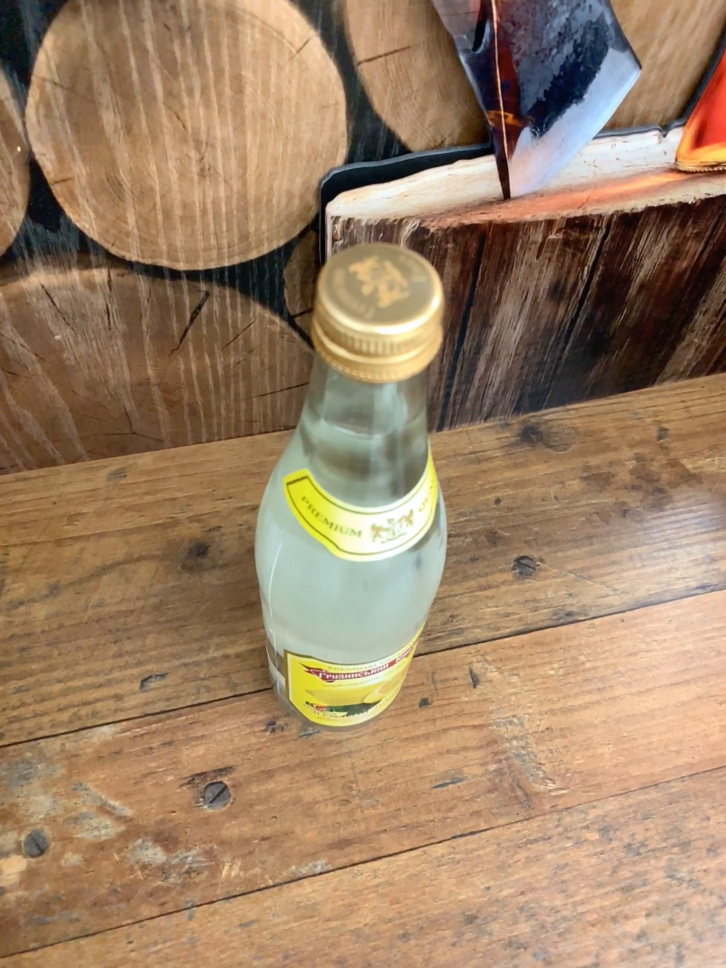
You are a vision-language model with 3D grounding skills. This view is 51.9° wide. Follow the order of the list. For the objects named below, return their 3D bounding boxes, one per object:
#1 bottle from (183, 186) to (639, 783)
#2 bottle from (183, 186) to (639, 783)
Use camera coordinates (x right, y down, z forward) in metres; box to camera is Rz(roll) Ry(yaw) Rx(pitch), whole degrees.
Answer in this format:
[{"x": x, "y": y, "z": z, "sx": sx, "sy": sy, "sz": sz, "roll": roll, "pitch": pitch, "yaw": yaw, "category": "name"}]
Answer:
[{"x": -0.002, "y": 0.028, "z": 0.232, "sx": 0.070, "sy": 0.219, "sz": 0.070, "roll": 2, "pitch": 58, "yaw": -3, "category": "bottle"}, {"x": -0.002, "y": 0.028, "z": 0.232, "sx": 0.070, "sy": 0.219, "sz": 0.070, "roll": 2, "pitch": 58, "yaw": -3, "category": "bottle"}]
